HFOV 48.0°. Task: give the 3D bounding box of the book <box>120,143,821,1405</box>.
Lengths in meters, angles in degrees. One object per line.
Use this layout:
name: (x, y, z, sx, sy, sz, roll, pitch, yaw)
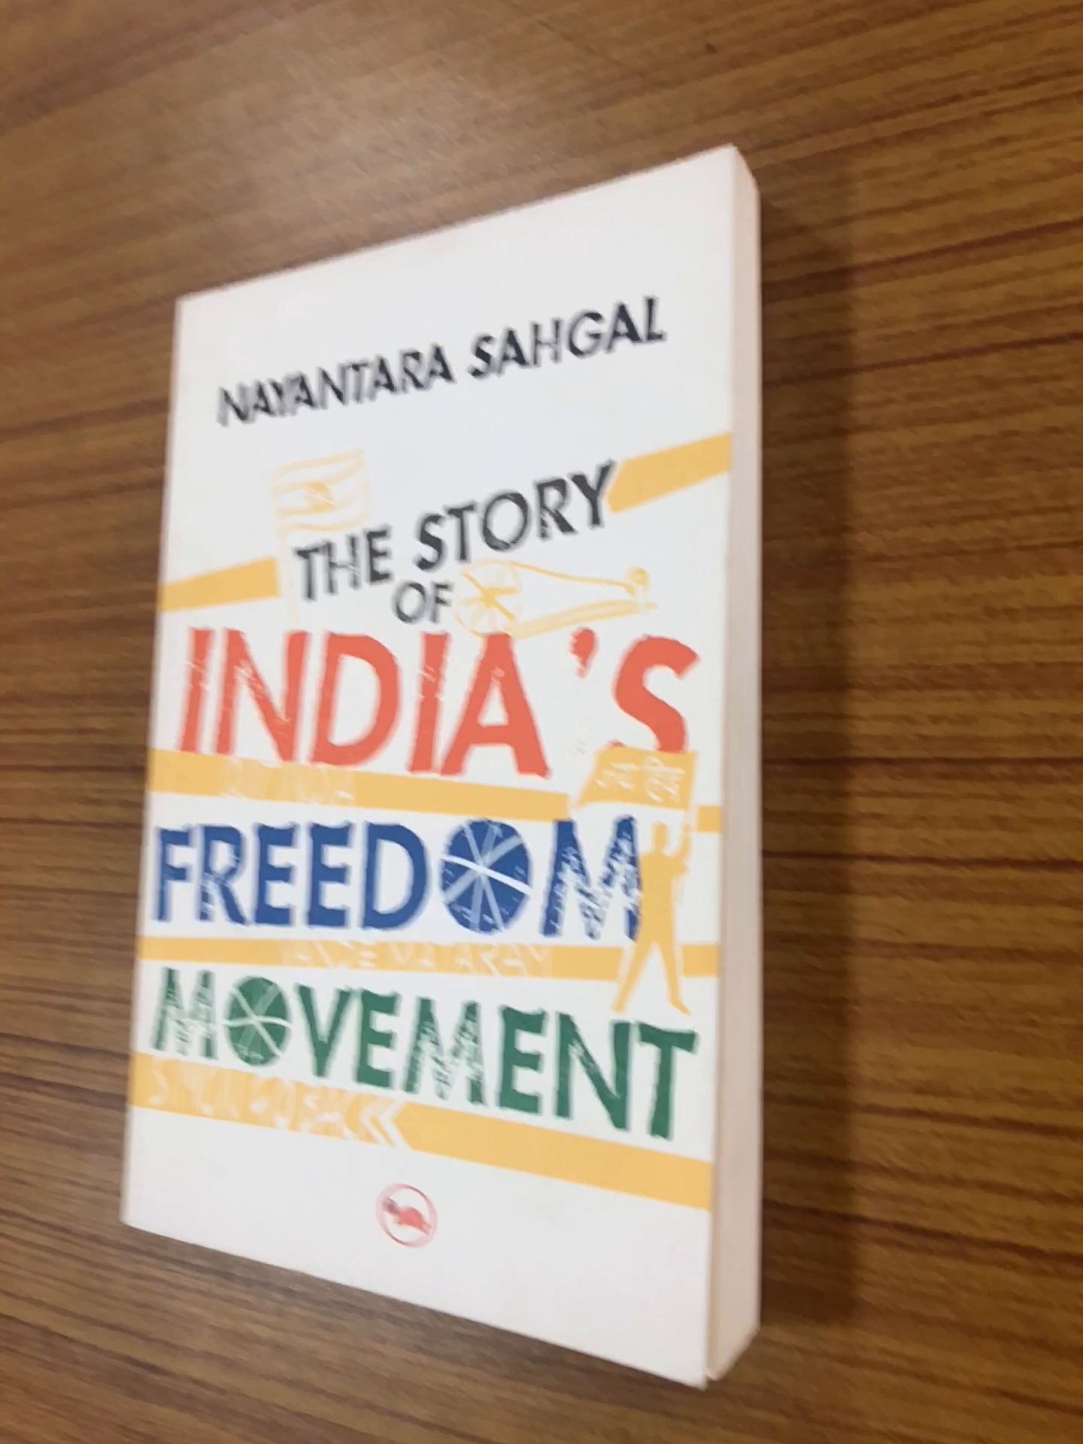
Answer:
book: (-0.016, 0.006, 0.228, 0.130, 0.030, 0.190, -2, 83, 30)
